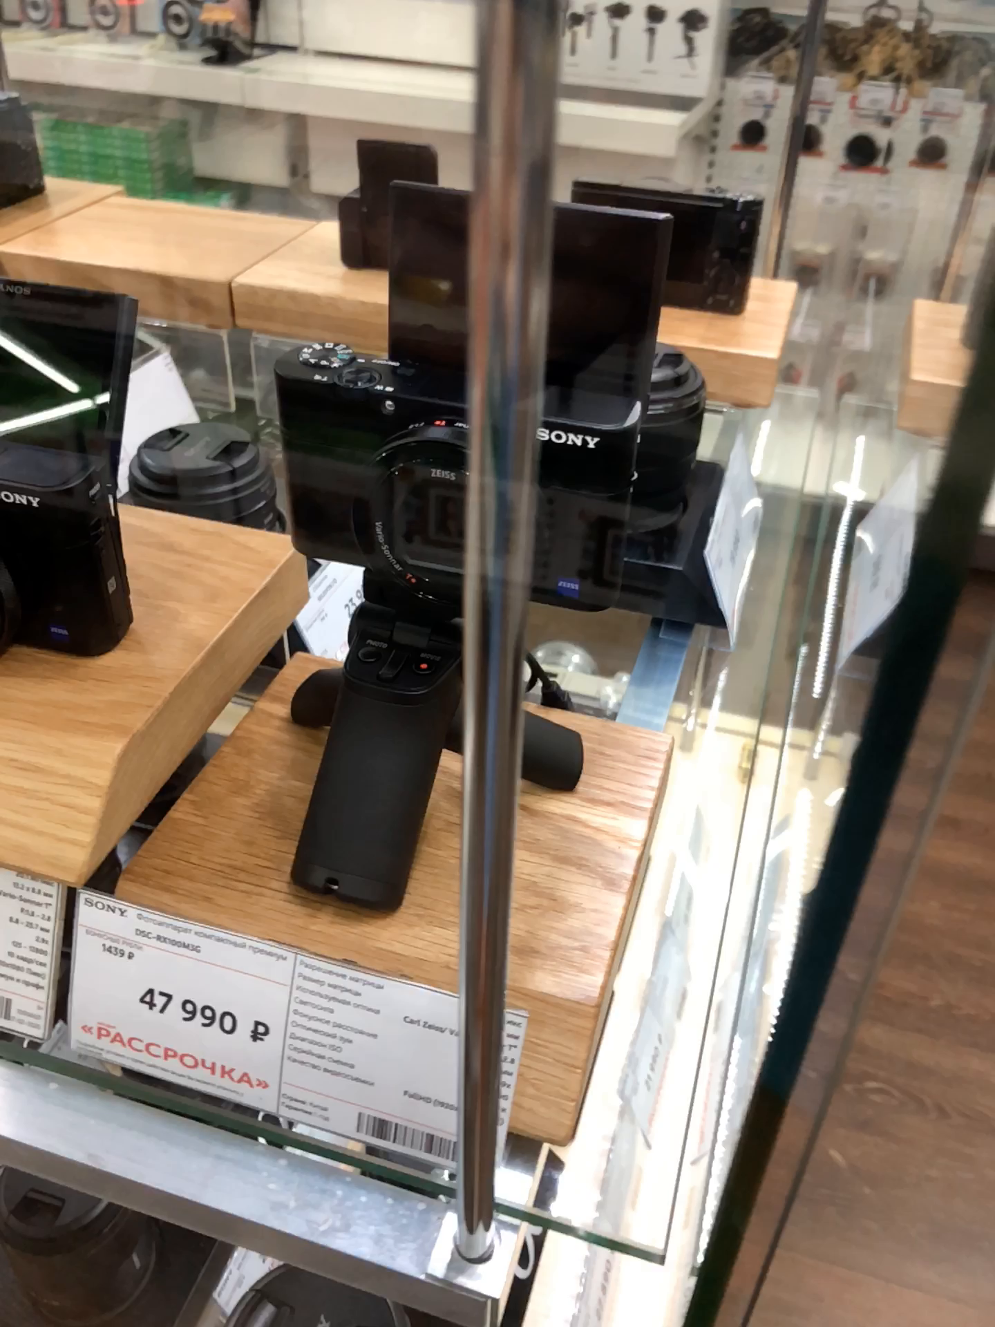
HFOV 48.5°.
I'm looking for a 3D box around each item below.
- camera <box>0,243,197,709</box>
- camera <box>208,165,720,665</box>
[{"bbox_3d":[-0.161,-0.057,0.325,0.108,0.097,0.070,13,38,13],"label":"camera"},{"bbox_3d":[-0.007,-0.068,0.294,0.108,0.097,0.063,13,38,13],"label":"camera"}]
